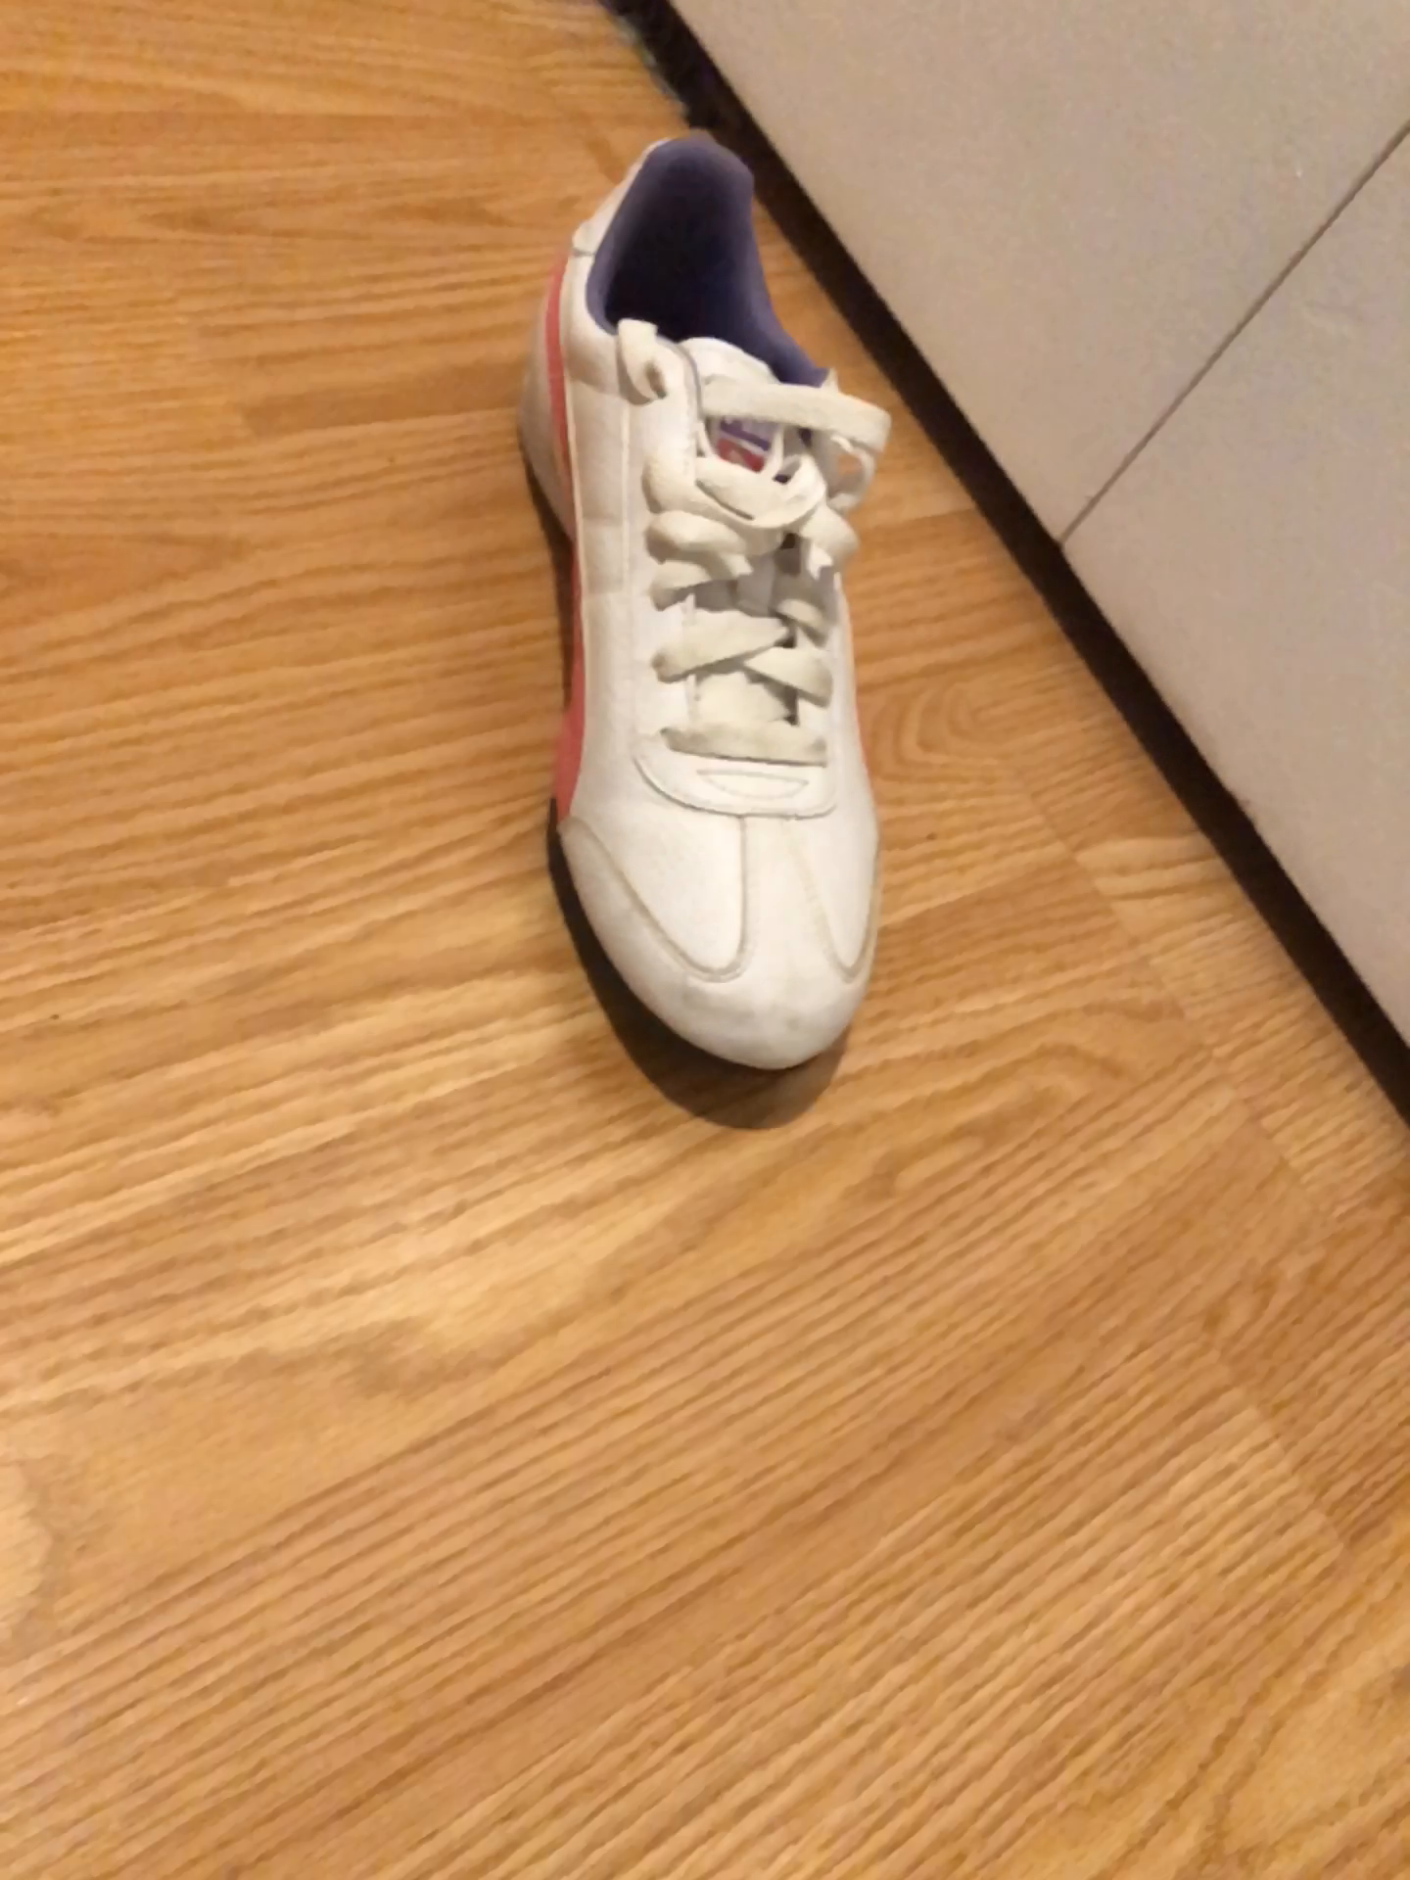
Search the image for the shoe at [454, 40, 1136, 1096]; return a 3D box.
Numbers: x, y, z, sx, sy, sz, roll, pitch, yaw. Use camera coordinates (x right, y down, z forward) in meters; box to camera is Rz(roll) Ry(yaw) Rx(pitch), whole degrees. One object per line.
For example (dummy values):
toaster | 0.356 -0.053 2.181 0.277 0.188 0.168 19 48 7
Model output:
shoe | 0.008 -0.096 0.398 0.100 0.080 0.260 3 60 -25
